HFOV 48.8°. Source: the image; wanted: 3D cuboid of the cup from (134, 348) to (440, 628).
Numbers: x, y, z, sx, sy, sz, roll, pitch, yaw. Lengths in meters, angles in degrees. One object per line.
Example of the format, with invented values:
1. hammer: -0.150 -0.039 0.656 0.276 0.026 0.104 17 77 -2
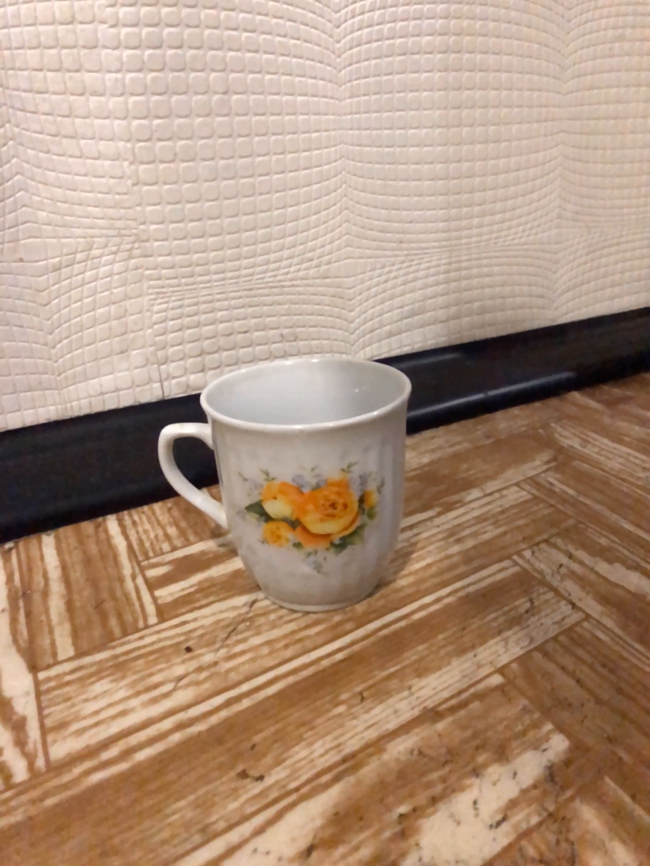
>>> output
1. cup: -0.013 0.015 0.282 0.097 0.069 0.095 -3 21 1
